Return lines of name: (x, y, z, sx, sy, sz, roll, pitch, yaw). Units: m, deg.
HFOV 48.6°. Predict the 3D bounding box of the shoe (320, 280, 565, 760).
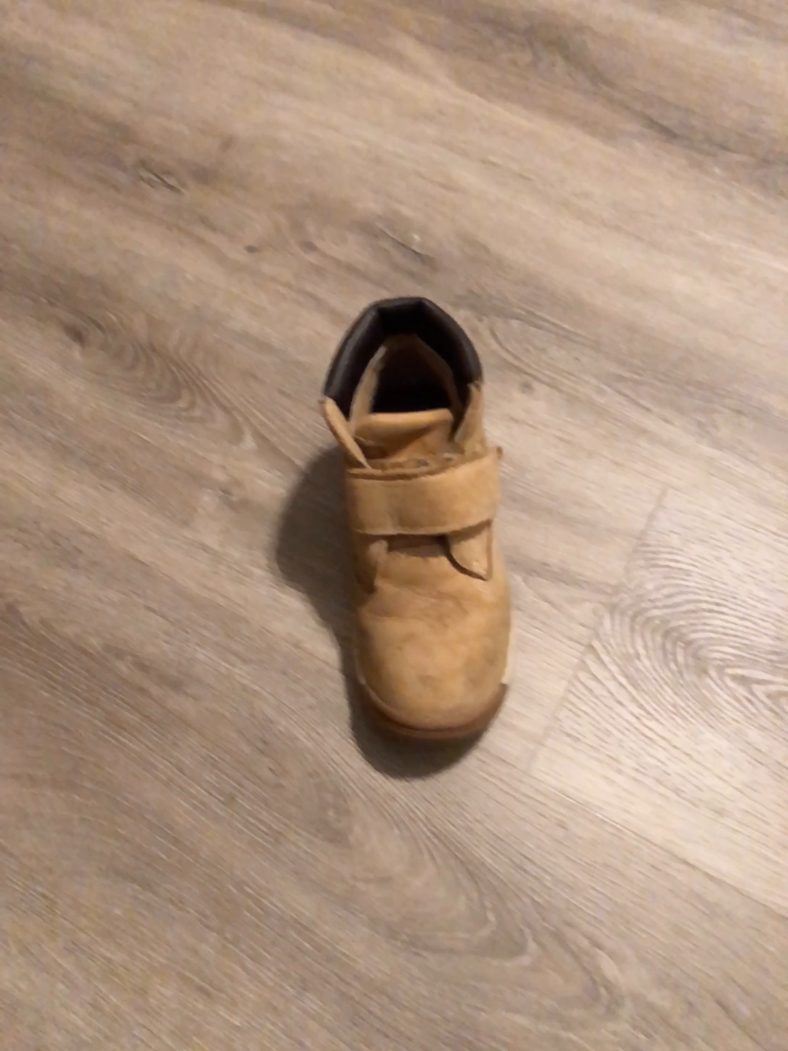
shoe: (0.017, -0.003, 0.411, 0.090, 0.100, 0.200, -2, 63, 1)
